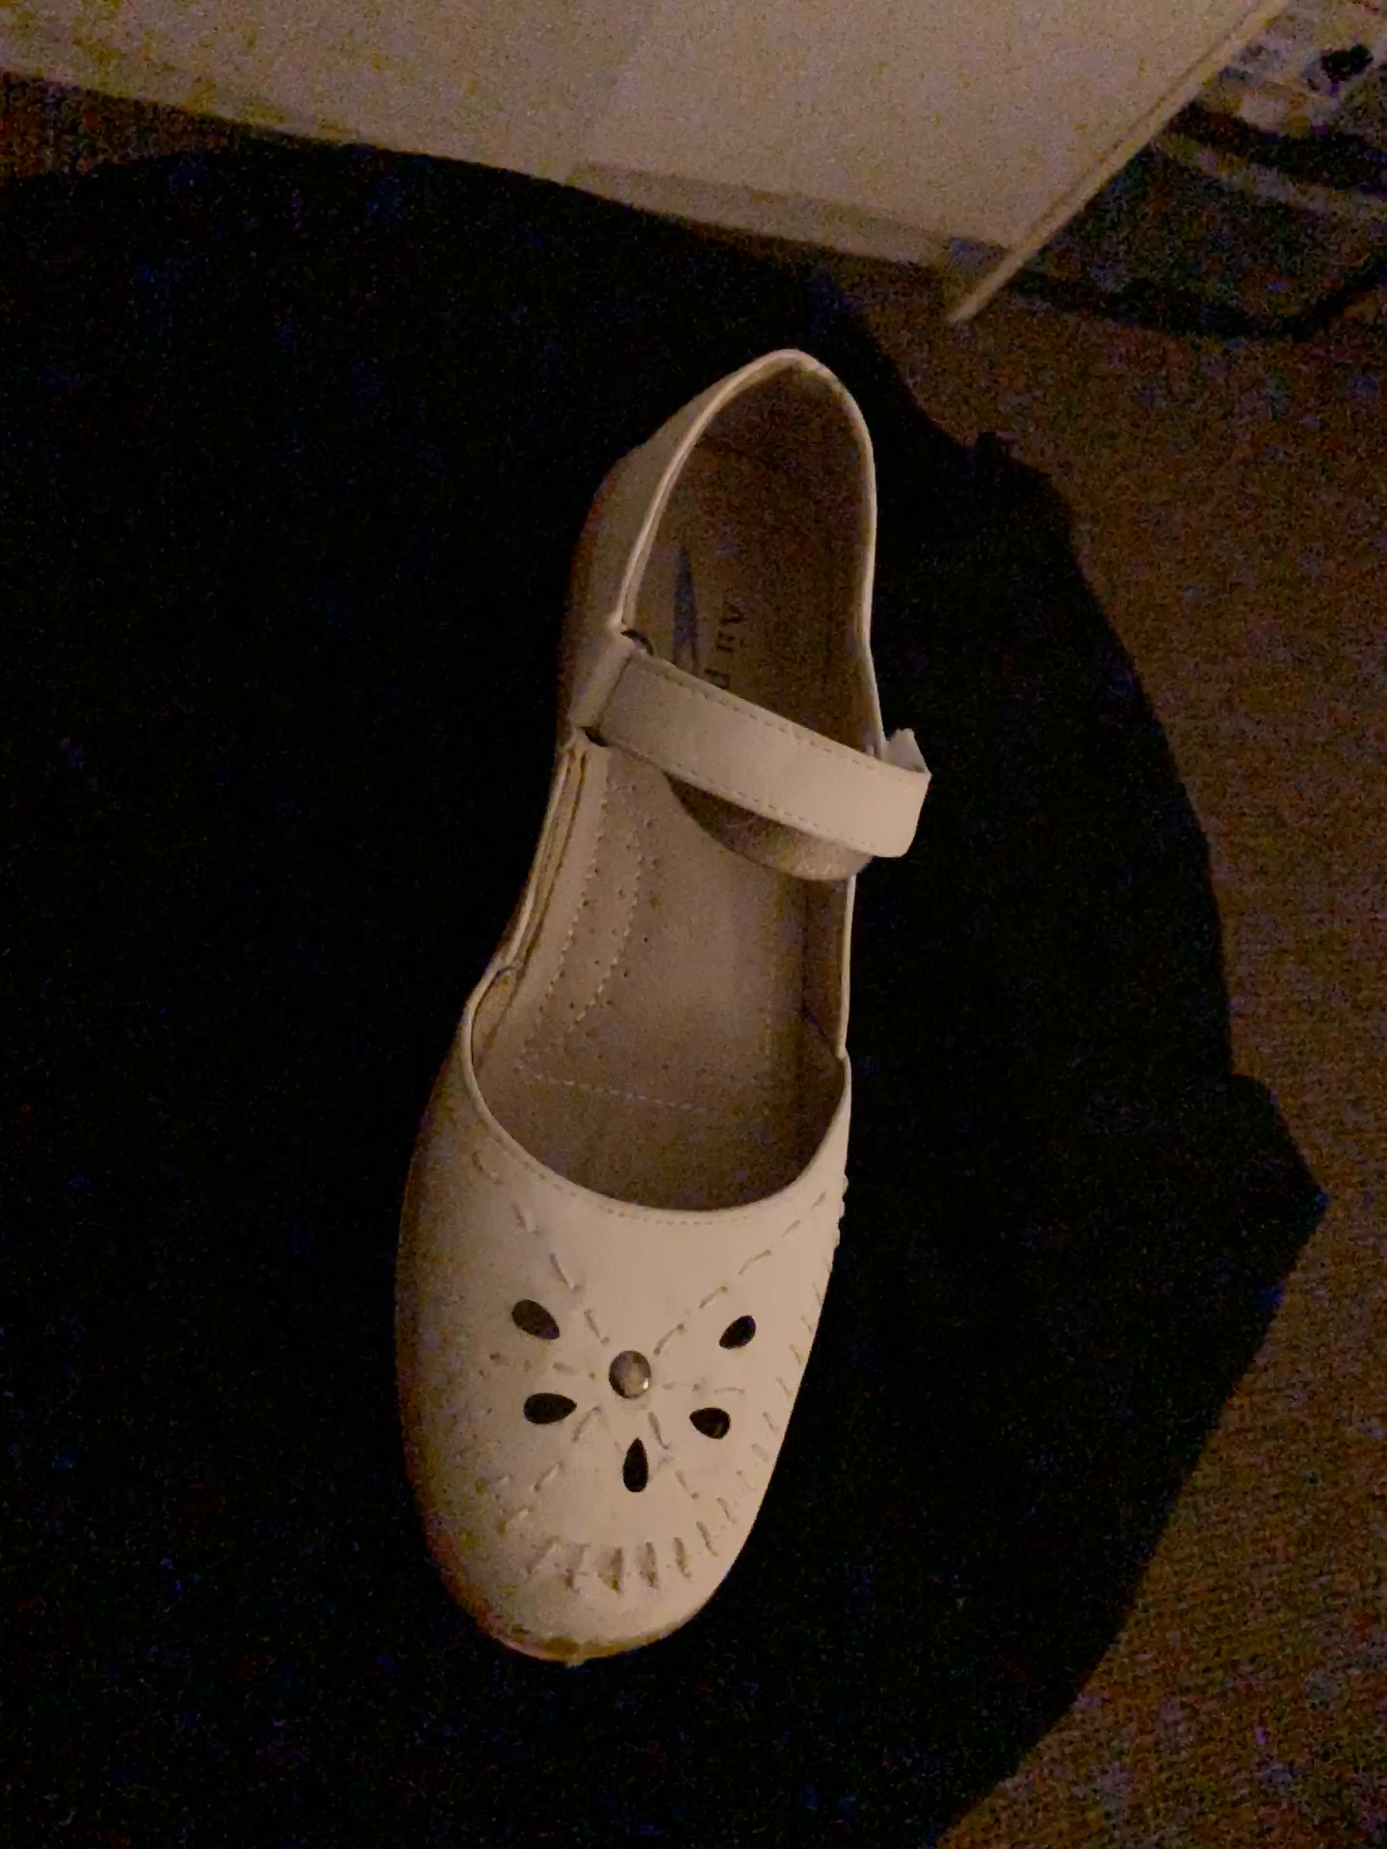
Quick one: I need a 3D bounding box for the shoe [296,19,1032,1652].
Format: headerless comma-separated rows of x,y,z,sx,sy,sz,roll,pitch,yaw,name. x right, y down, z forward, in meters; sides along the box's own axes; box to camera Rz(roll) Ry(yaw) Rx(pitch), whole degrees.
-0.005,-0.016,0.286,0.097,0.100,0.271,10,73,-23,shoe
